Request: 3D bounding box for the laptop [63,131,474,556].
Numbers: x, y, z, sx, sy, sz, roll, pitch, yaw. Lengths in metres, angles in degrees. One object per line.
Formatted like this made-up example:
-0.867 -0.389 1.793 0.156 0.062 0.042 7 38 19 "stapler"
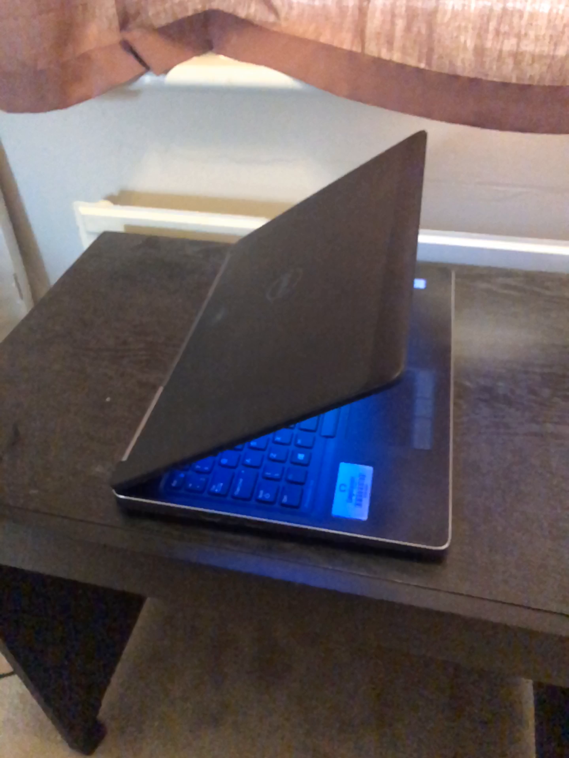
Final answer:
0.022 -0.069 0.536 0.243 0.134 0.364 7 42 11 "laptop"
